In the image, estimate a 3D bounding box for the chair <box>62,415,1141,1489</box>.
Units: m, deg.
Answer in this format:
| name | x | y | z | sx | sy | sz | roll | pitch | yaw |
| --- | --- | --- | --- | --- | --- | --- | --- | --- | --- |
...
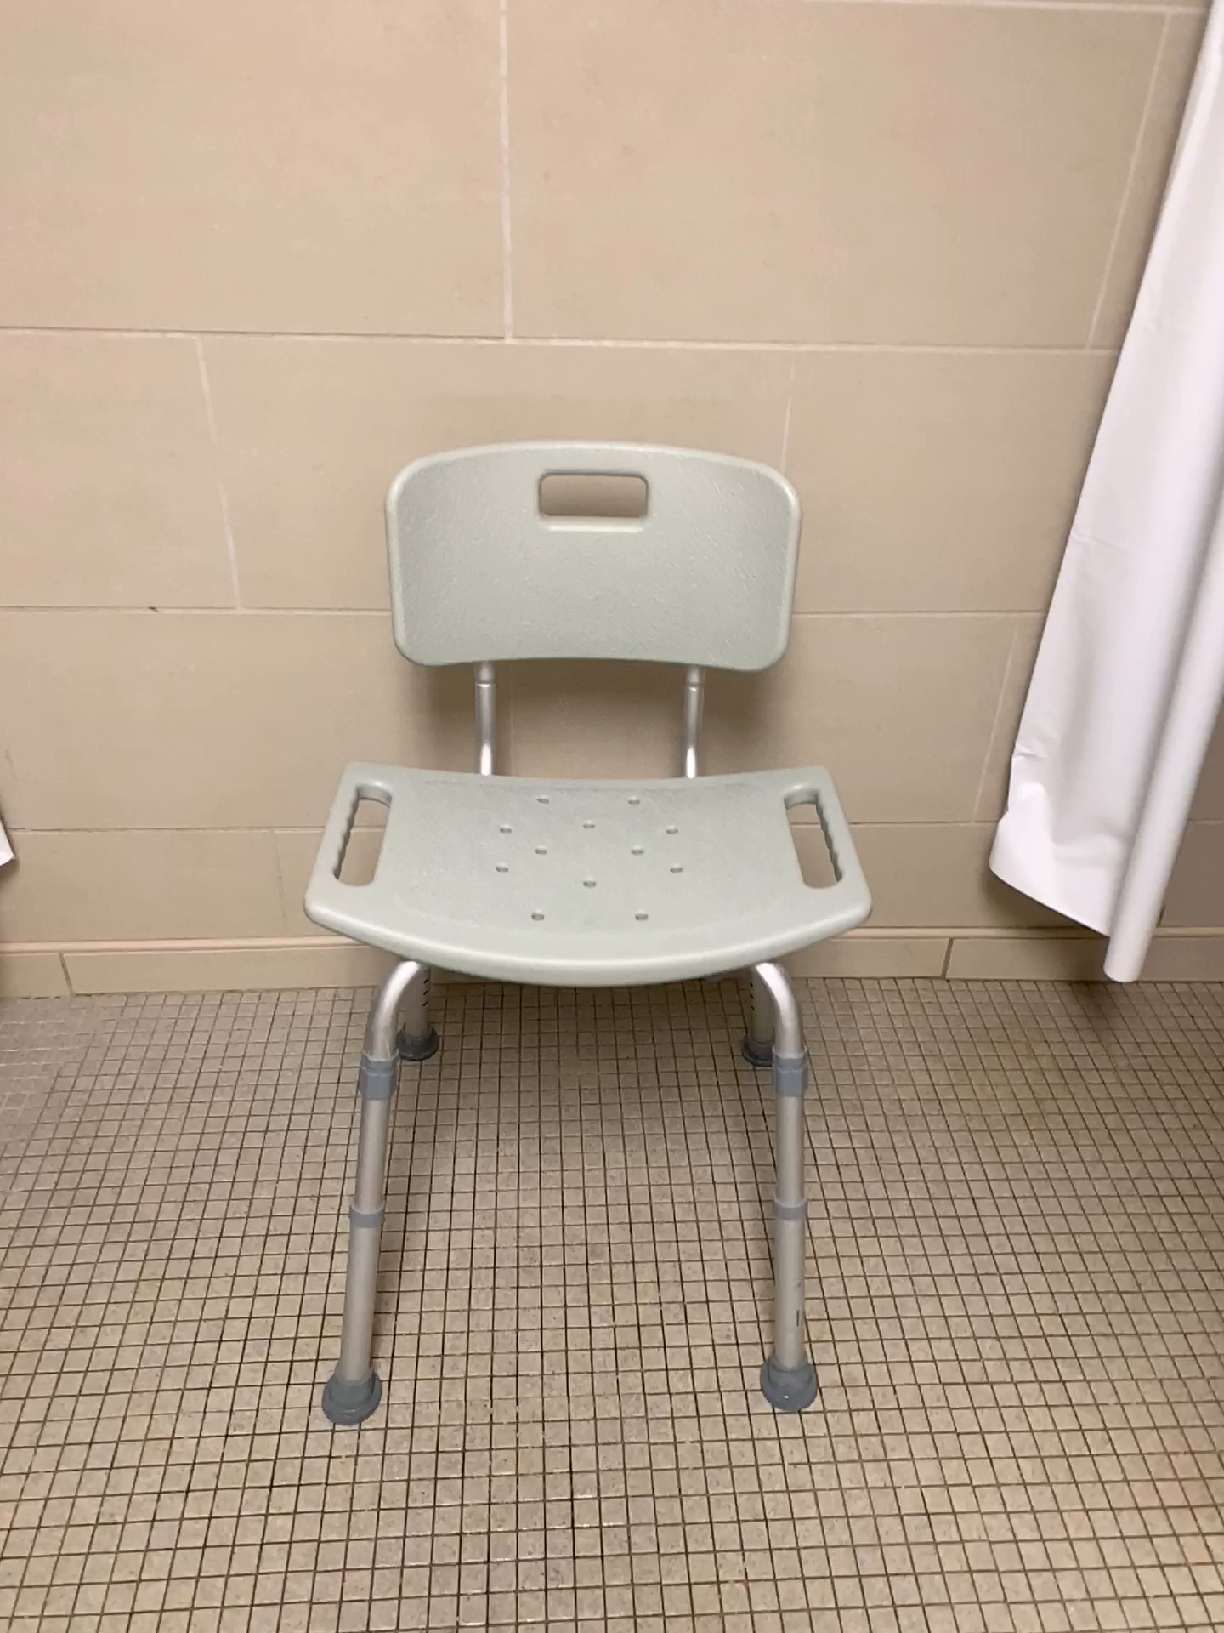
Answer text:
| name | x | y | z | sx | sy | sz | roll | pitch | yaw |
| --- | --- | --- | --- | --- | --- | --- | --- | --- | --- |
| chair | -0.010 | 0.120 | 1.064 | 0.549 | 0.745 | 0.524 | -1 | 37 | -1 |
